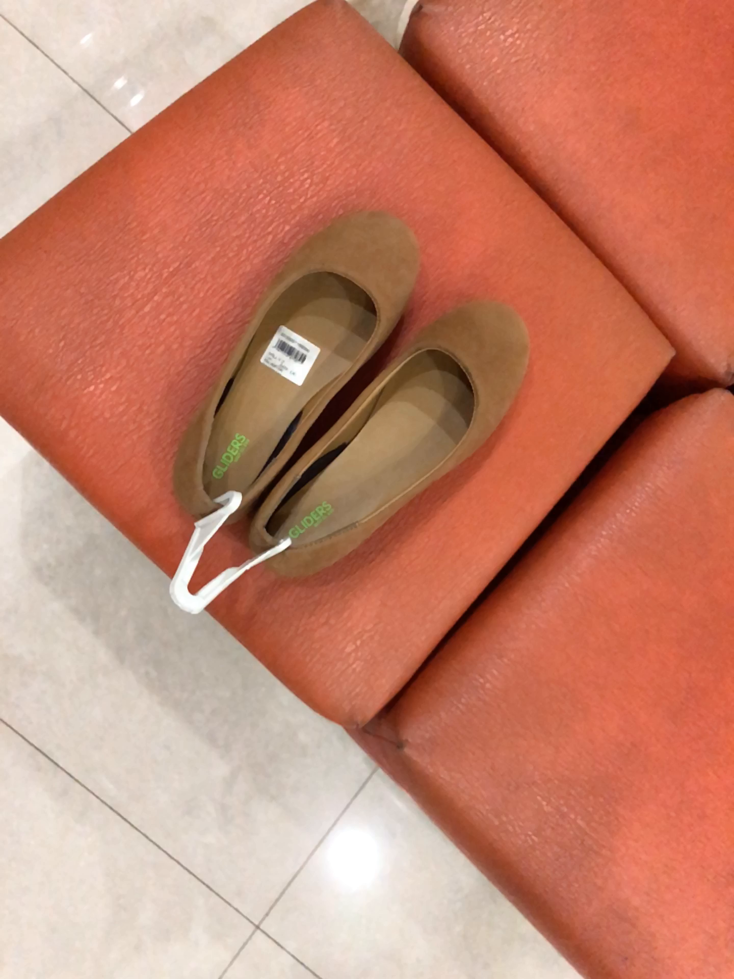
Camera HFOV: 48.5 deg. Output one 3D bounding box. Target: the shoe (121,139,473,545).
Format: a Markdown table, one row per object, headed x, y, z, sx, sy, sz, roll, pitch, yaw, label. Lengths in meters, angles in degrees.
| x | y | z | sx | sy | sz | roll | pitch | yaw | label |
| --- | --- | --- | --- | --- | --- | --- | --- | --- | --- |
| -0.047 | -0.106 | 0.591 | 0.094 | 0.071 | 0.286 | 36 | 76 | -5 | shoe |

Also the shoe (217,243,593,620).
| x | y | z | sx | sy | sz | roll | pitch | yaw | label |
| --- | --- | --- | --- | --- | --- | --- | --- | --- | --- |
| 0.030 | -0.043 | 0.600 | 0.097 | 0.071 | 0.286 | 45 | 75 | -5 | shoe |
